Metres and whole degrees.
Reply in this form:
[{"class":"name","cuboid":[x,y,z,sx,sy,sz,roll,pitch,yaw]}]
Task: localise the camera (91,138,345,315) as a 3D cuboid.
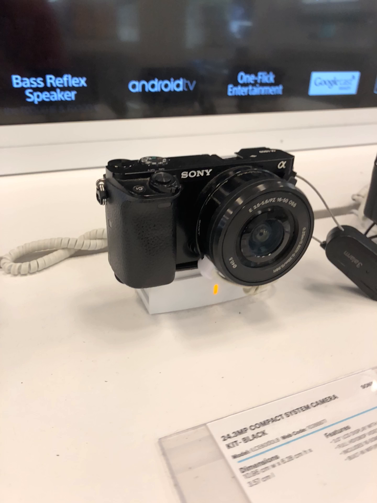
[{"class":"camera","cuboid":[0.015,-0.023,0.262,0.130,0.070,0.070,-10,30,-22]}]
